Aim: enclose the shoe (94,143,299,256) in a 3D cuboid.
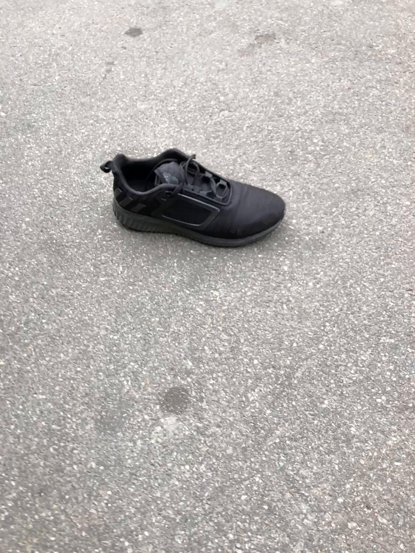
[{"bbox_3d":[-0.011,-0.119,0.696,0.280,0.109,0.101,6,58,9],"label":"shoe"}]
